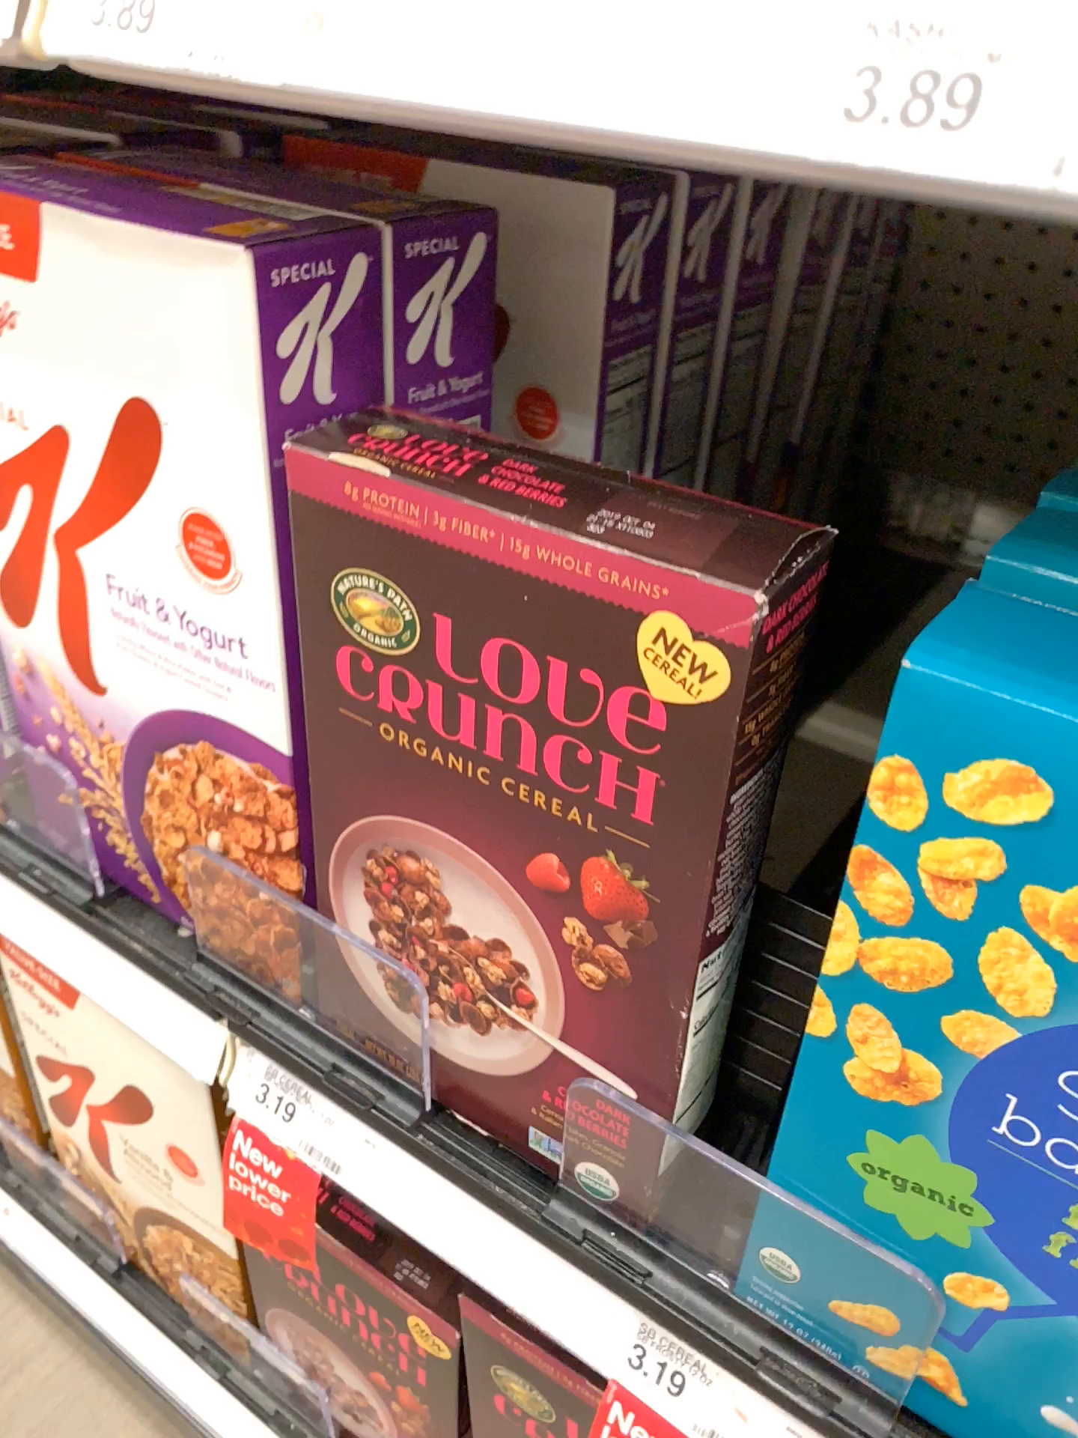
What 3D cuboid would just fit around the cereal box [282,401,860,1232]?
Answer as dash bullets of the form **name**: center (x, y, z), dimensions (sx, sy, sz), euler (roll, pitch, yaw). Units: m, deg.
- **cereal box**: center (-0.002, 0.038, 0.380), dimensions (0.160, 0.249, 0.050), euler (22, 37, 26)
